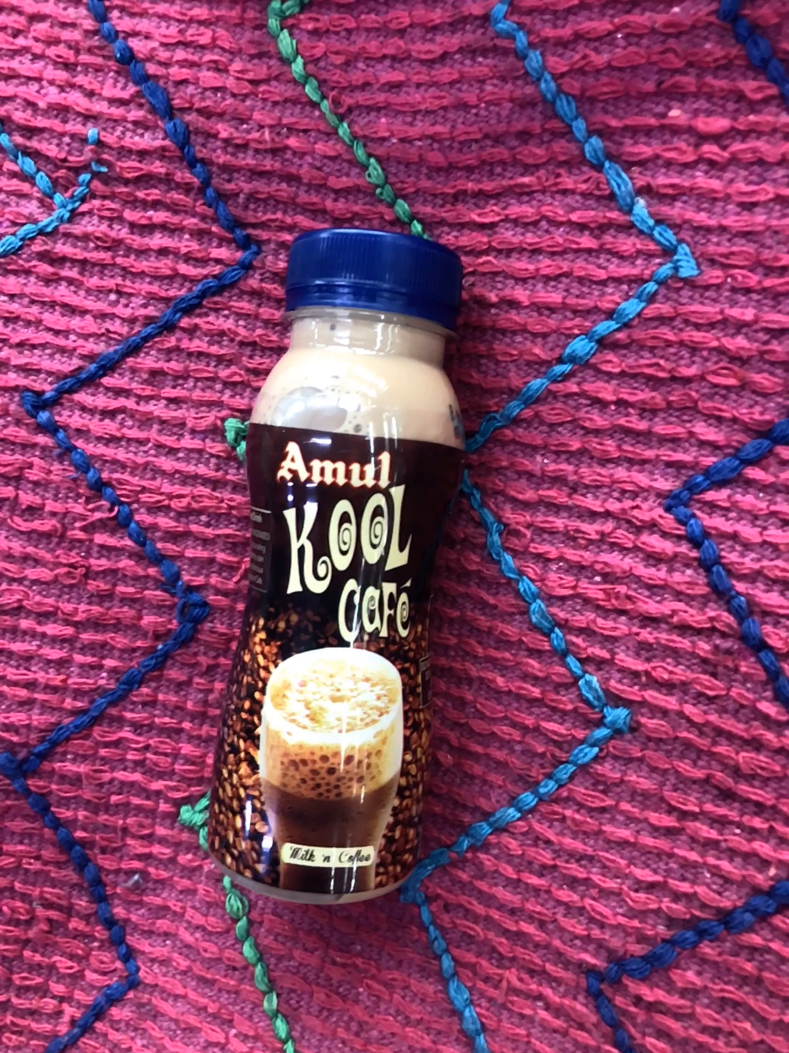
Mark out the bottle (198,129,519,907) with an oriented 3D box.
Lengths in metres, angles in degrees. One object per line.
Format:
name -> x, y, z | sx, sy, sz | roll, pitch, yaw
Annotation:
bottle -> -0.013, 0.000, 0.205 | 0.050, 0.060, 0.150 | 5, 92, -15
